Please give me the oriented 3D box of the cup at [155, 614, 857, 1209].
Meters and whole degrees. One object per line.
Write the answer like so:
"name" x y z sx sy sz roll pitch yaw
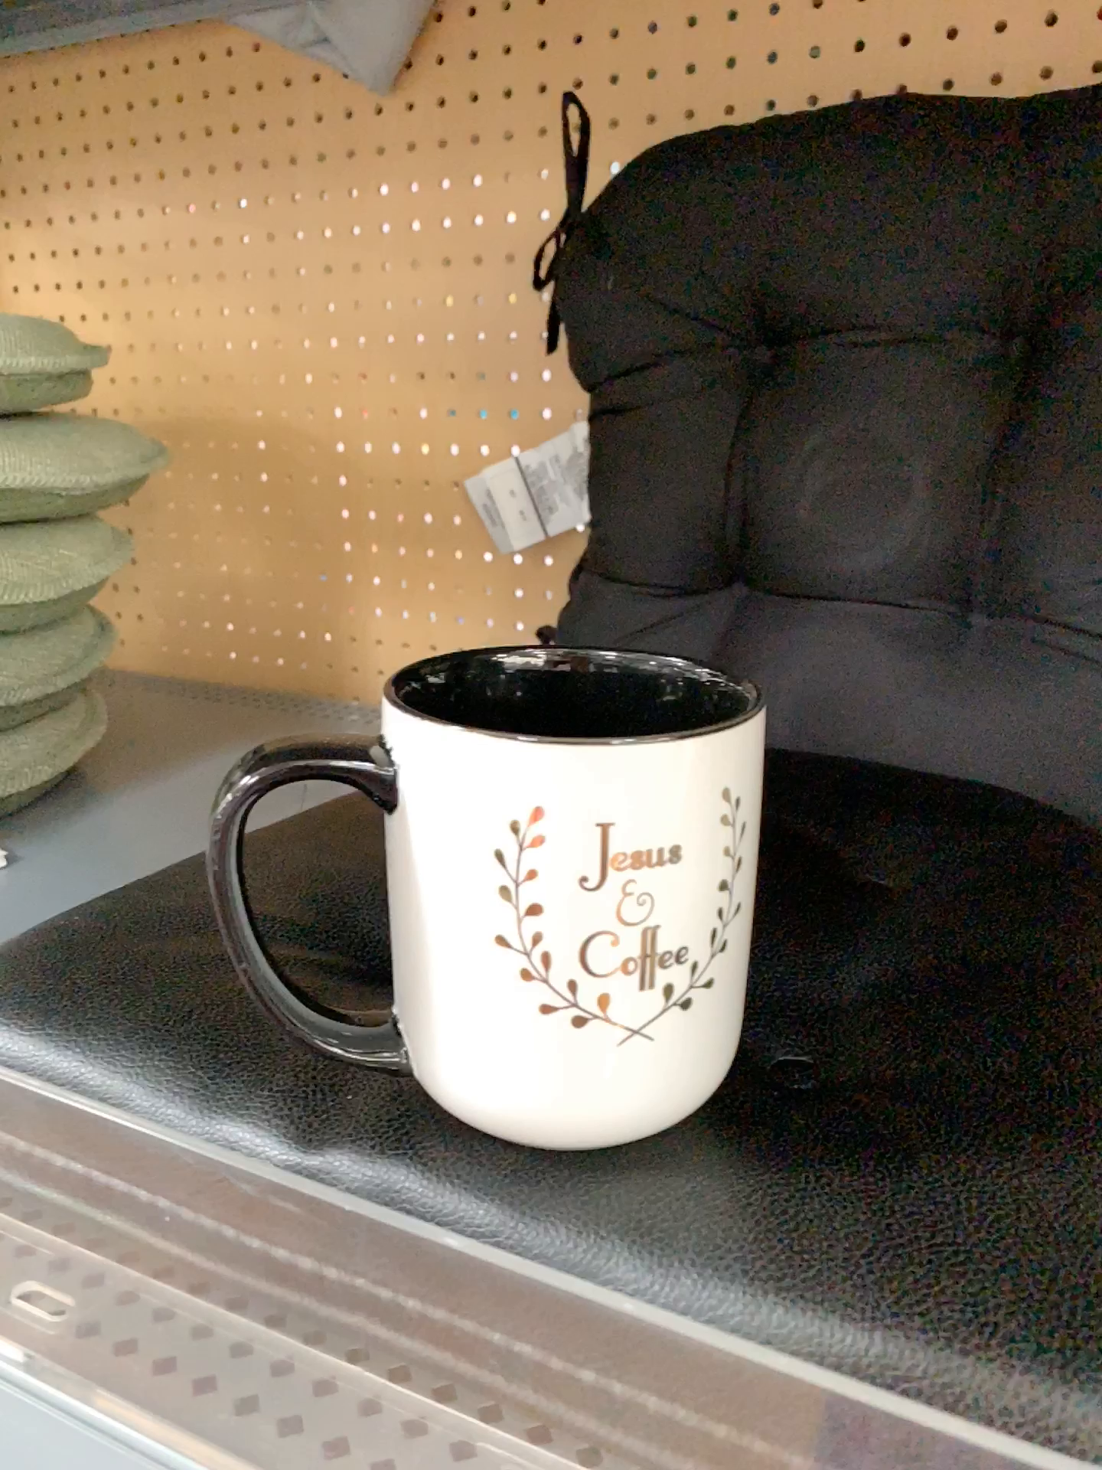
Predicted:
"cup" -0.014 0.032 0.288 0.142 0.104 0.102 -4 15 -10
